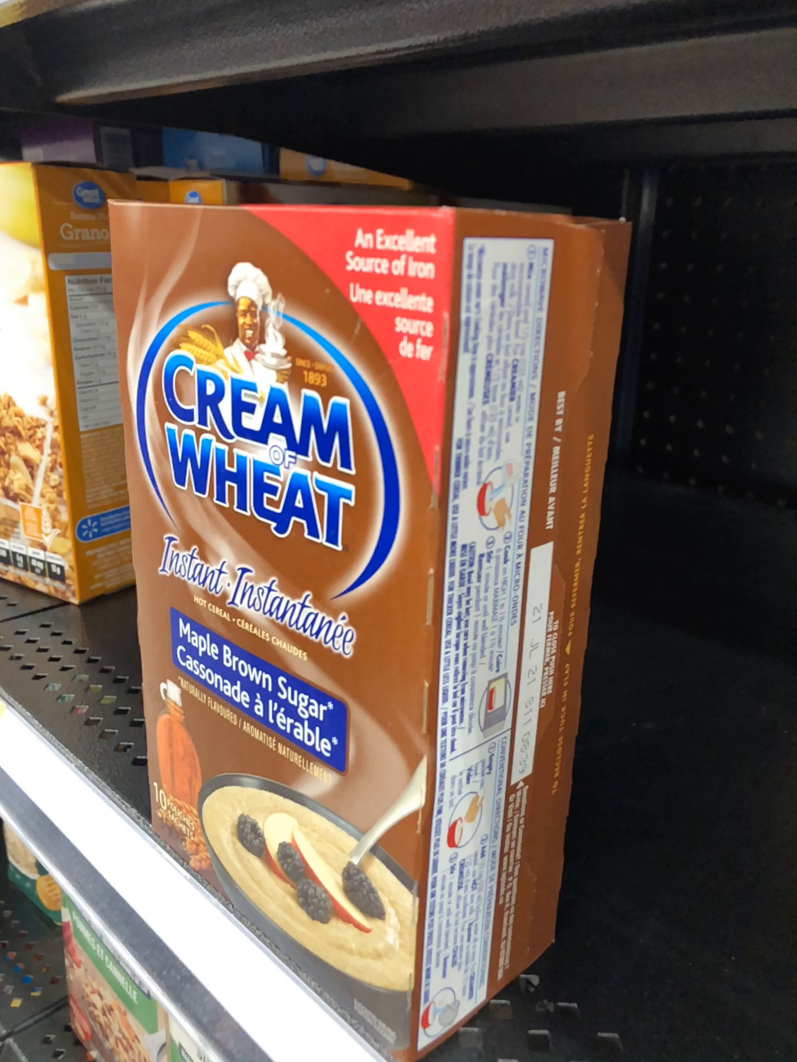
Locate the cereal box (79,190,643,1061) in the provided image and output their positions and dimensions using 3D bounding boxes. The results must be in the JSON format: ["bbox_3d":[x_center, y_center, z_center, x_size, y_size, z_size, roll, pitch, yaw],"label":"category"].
[{"bbox_3d":[-0.018,0.021,0.240,0.060,0.209,0.130,-16,25,-42],"label":"cereal box"}]
